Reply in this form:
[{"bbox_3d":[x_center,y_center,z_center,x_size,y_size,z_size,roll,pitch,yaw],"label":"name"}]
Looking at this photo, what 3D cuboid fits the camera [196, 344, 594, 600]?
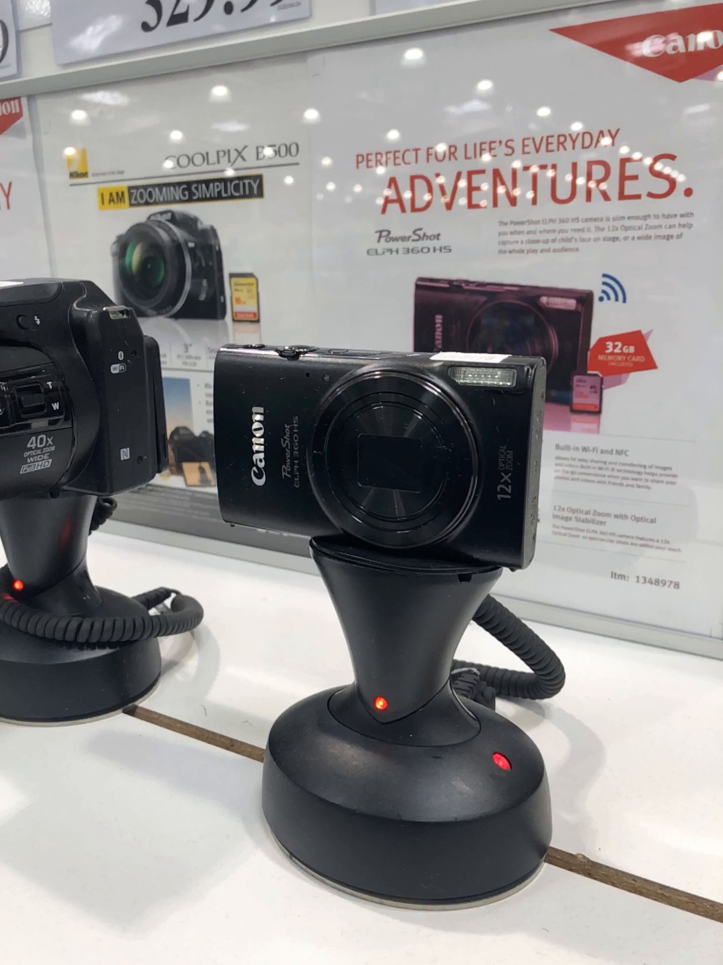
[{"bbox_3d":[0.009,-0.009,0.245,0.110,0.060,0.040,6,16,27],"label":"camera"}]
